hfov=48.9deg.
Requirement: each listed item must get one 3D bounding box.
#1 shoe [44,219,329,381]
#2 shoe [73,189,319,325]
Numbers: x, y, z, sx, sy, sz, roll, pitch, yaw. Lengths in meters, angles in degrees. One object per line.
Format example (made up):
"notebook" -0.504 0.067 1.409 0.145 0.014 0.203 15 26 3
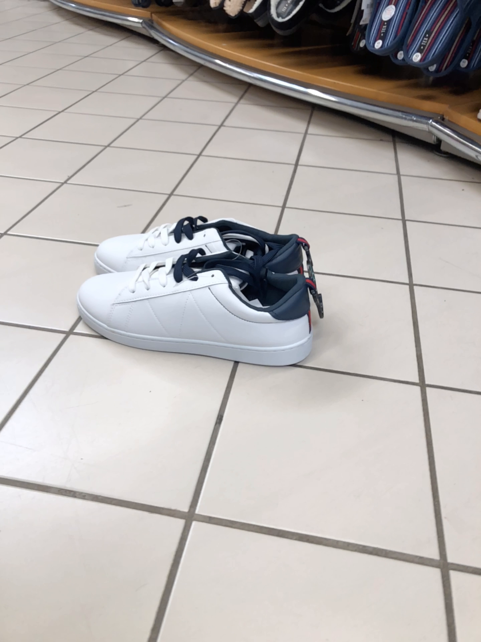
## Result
"shoe" -0.056 -0.029 0.600 0.290 0.099 0.101 10 37 10
"shoe" -0.053 -0.088 0.690 0.290 0.099 0.101 10 37 10
